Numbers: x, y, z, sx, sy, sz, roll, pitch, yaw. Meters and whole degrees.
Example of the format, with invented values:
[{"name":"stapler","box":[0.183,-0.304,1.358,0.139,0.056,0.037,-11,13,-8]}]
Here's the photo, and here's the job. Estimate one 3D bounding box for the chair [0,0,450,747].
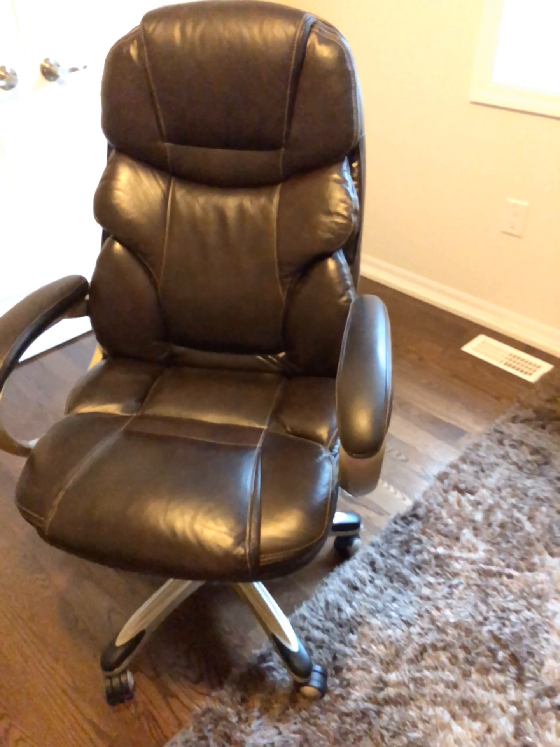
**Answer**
[{"name":"chair","box":[-0.150,-0.010,1.159,0.730,1.135,0.743,8,37,13]}]
